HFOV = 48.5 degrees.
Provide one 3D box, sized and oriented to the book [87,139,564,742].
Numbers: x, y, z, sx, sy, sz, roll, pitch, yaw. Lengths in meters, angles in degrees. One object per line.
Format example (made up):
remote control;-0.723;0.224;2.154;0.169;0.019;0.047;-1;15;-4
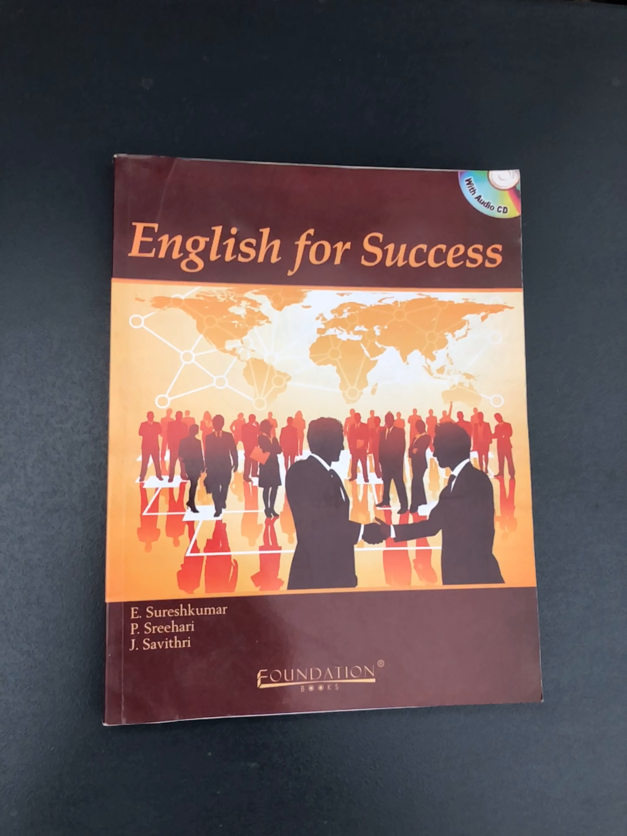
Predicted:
book;0.004;0.004;0.304;0.190;0.030;0.240;-1;83;-8
